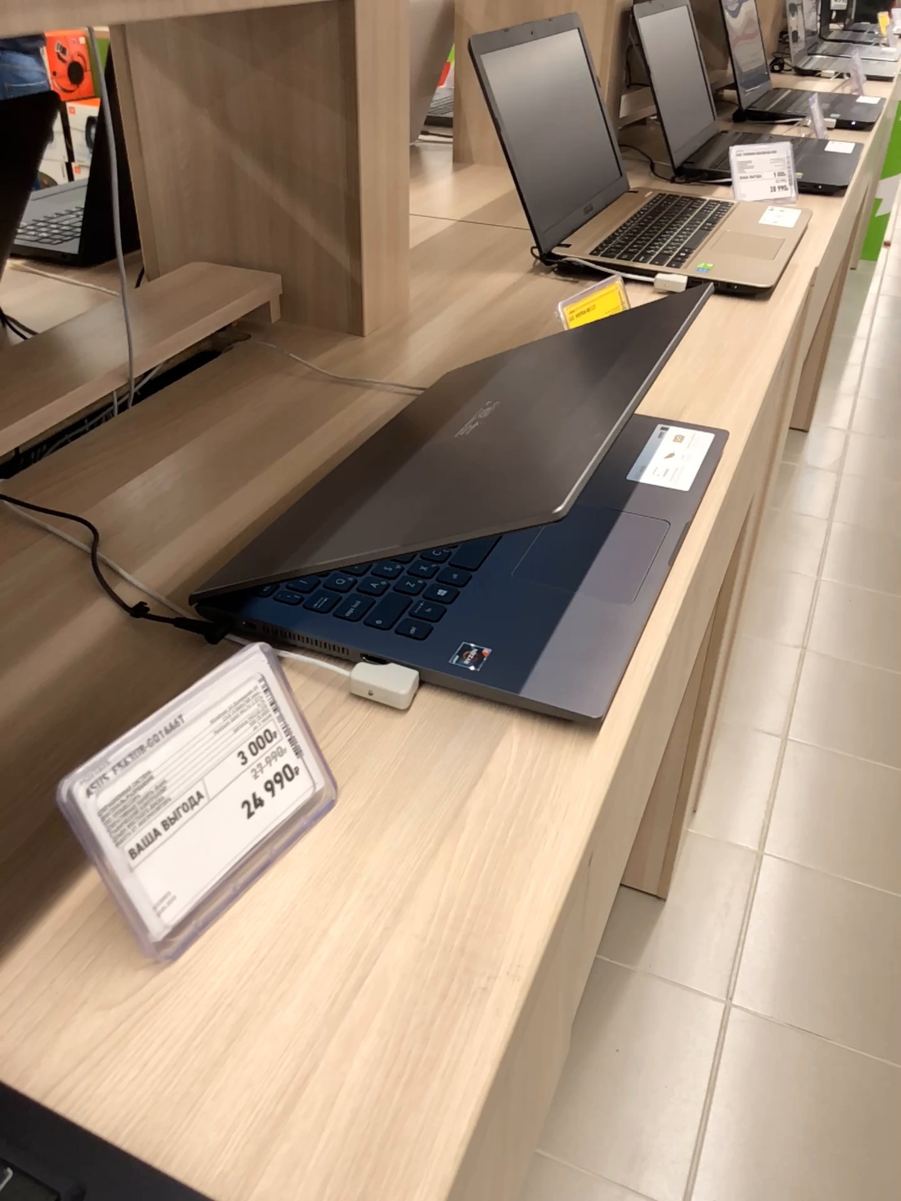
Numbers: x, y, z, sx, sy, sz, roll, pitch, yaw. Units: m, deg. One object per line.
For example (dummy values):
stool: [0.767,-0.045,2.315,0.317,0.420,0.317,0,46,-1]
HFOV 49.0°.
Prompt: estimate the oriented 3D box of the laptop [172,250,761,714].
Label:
laptop: [0.037,-0.107,0.618,0.232,0.111,0.350,14,36,19]
